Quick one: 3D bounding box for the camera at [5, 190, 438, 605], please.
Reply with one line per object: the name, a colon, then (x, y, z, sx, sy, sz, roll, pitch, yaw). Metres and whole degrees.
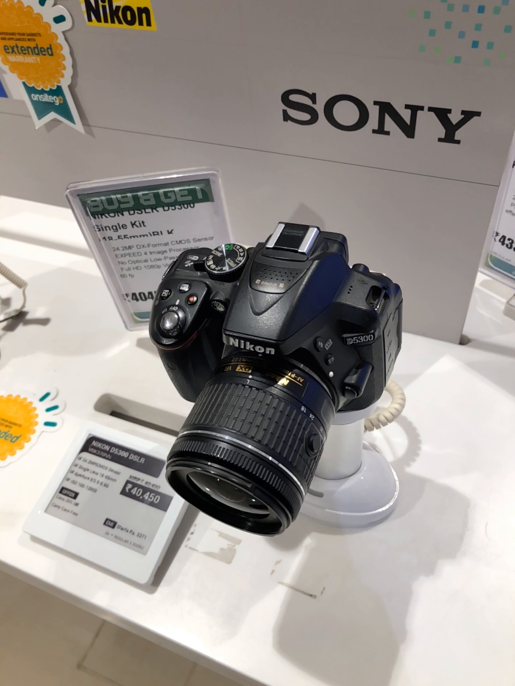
camera: (-0.003, 0.017, 0.278, 0.140, 0.099, 0.141, 13, 52, 17)
